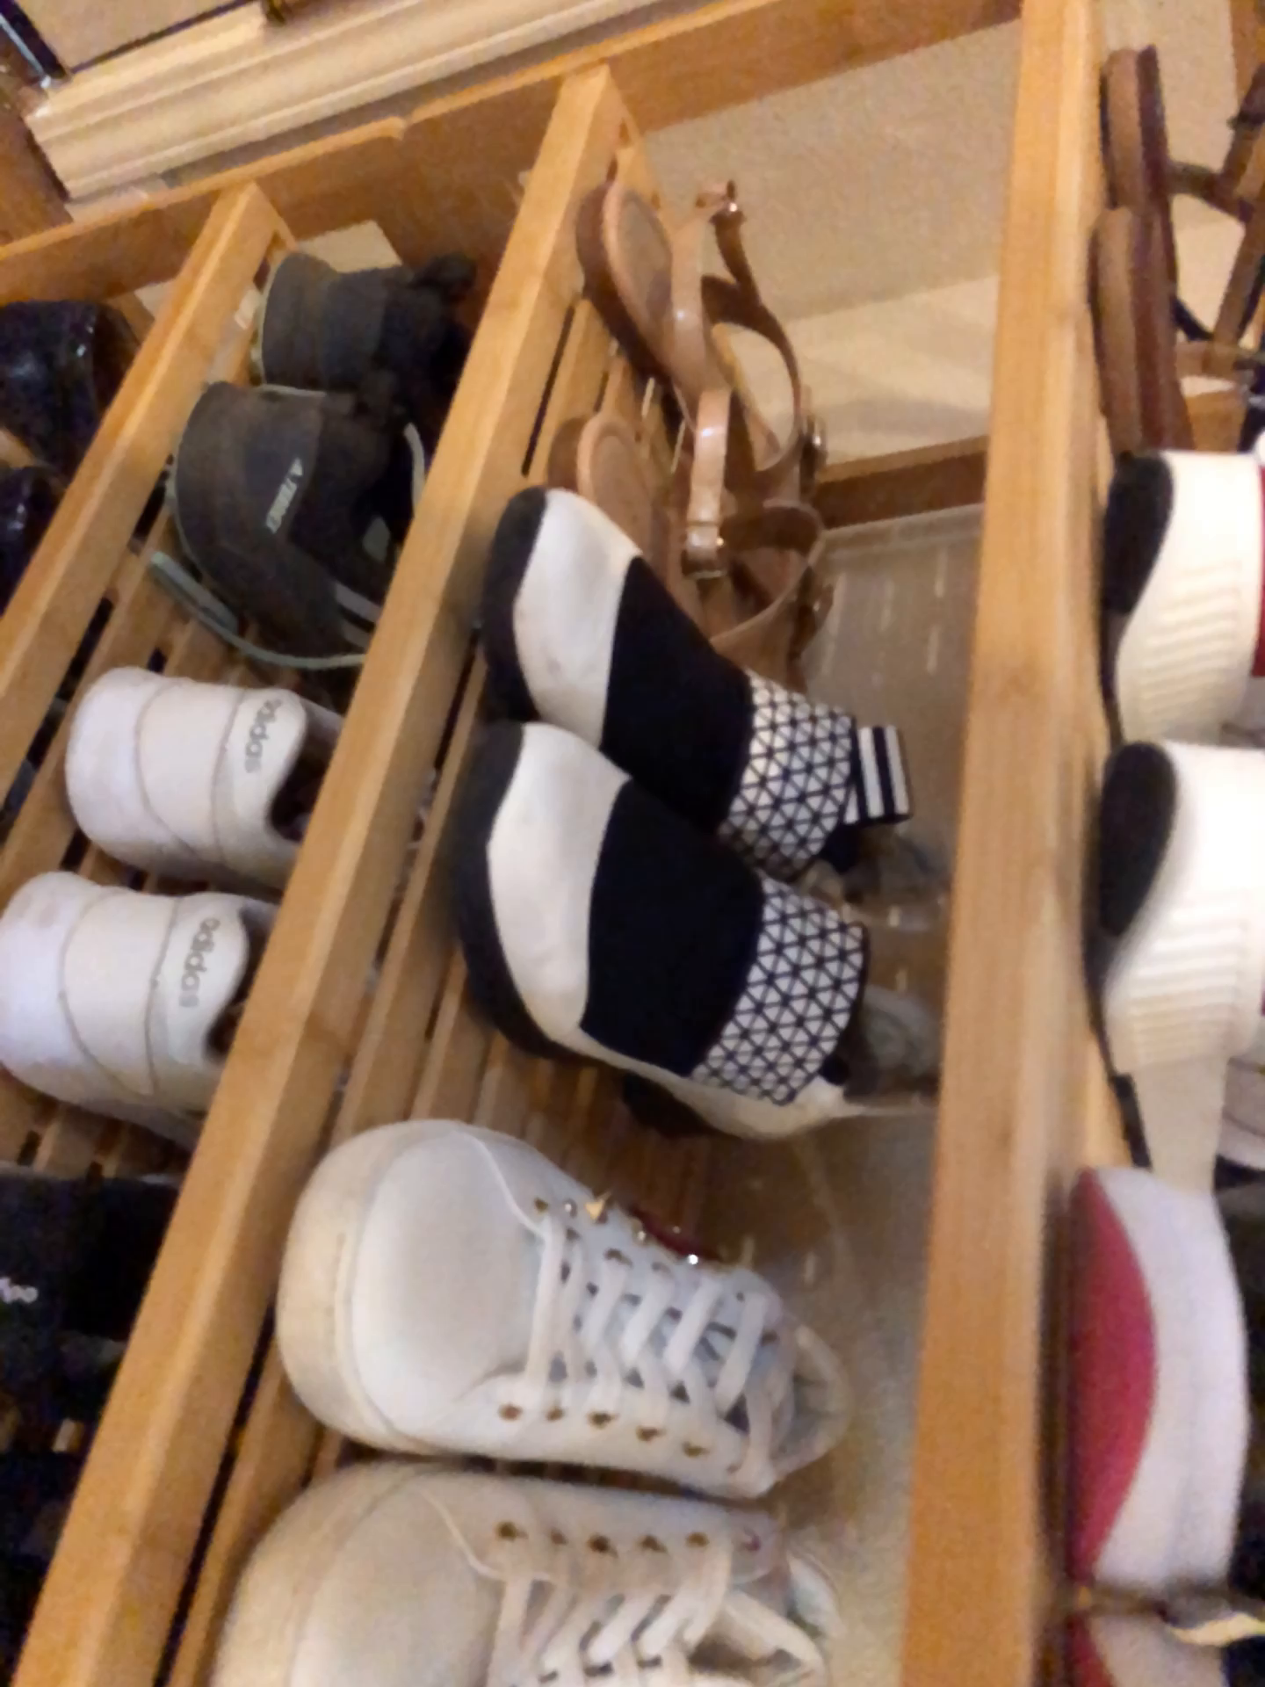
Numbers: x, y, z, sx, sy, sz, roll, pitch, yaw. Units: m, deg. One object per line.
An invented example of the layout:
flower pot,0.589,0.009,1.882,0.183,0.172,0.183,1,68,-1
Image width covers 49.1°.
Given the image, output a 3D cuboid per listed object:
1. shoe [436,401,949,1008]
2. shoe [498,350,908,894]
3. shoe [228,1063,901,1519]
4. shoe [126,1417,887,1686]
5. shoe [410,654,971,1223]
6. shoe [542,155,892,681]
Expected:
shoe,0.041,-0.036,0.544,0.264,0.068,0.086,46,46,-42
shoe,0.049,-0.086,0.653,0.264,0.081,0.099,50,43,-48
shoe,0.001,0.155,0.448,0.257,0.068,0.092,38,53,-47
shoe,-0.011,0.230,0.396,0.244,0.068,0.092,38,53,-47
shoe,0.043,0.055,0.518,0.282,0.076,0.096,44,48,-47
shoe,0.057,-0.207,0.730,0.264,0.074,0.092,50,43,-48
